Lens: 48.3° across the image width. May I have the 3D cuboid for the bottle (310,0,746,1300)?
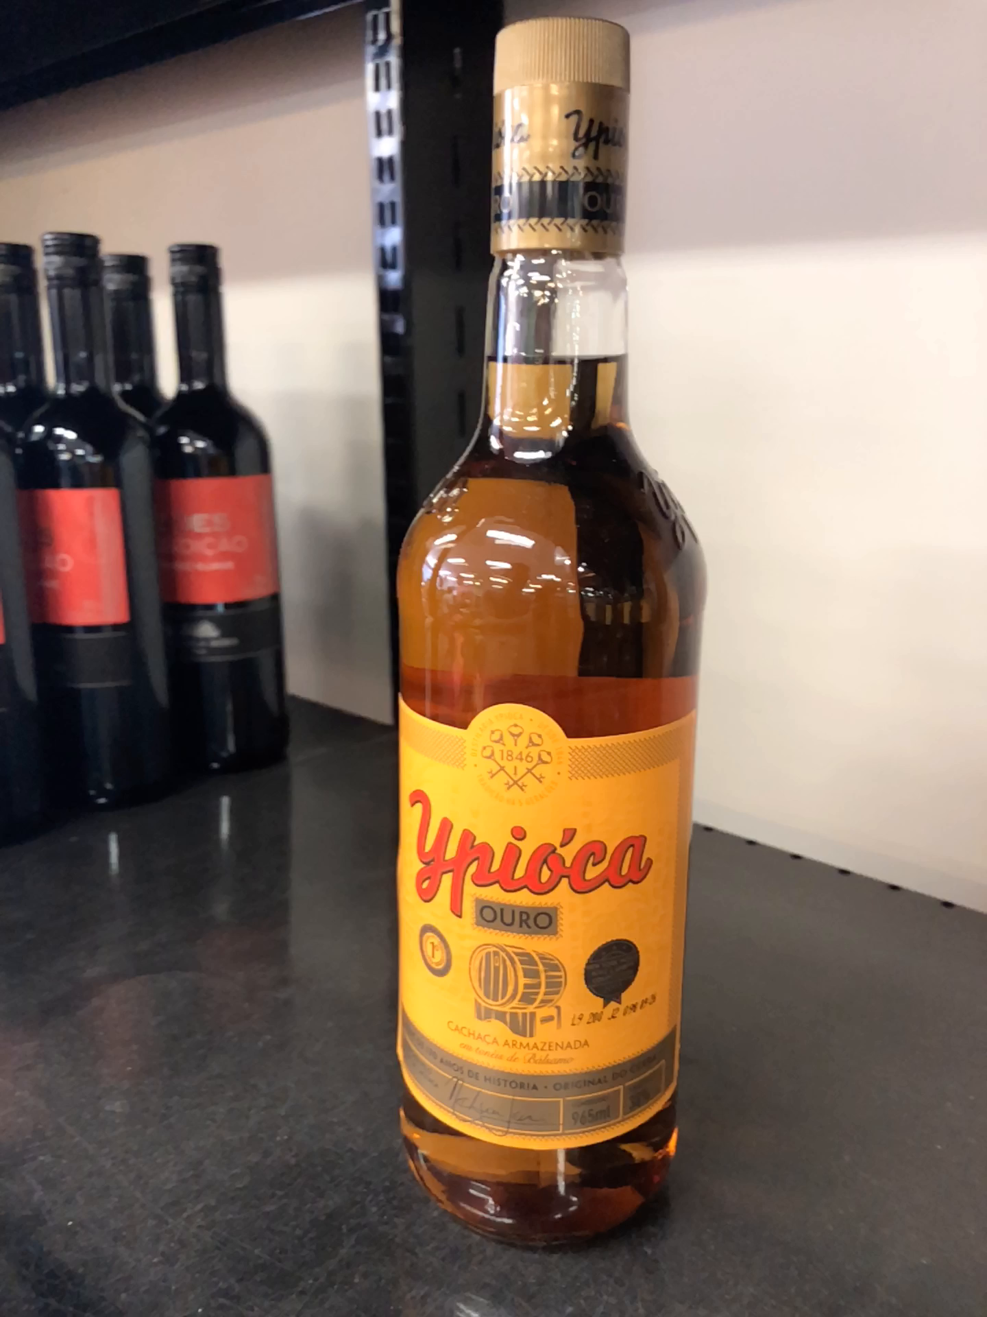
[{"bbox_3d":[0.013,0.002,0.279,0.080,0.308,0.070,4,17,14],"label":"bottle"}]
